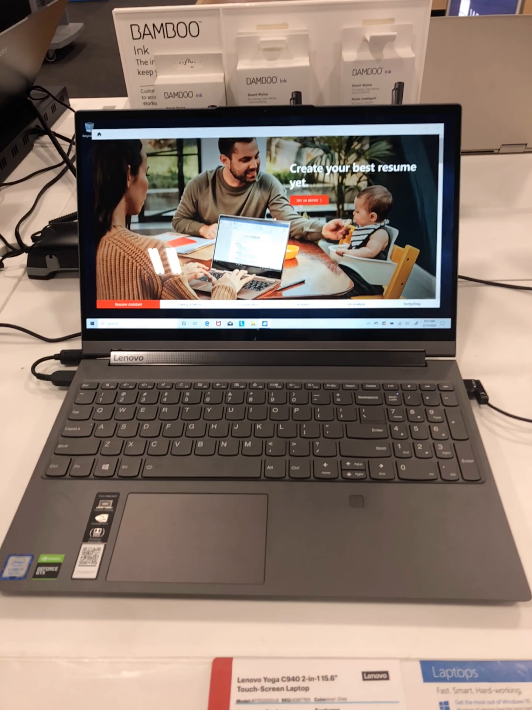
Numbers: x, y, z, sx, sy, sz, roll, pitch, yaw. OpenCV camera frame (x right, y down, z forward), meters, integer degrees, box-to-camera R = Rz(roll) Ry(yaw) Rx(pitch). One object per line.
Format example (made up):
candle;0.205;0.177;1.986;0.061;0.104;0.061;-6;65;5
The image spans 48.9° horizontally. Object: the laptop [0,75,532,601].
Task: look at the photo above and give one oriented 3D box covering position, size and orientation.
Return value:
laptop;-0.006;-0.047;0.458;0.336;0.169;0.376;0;47;2
